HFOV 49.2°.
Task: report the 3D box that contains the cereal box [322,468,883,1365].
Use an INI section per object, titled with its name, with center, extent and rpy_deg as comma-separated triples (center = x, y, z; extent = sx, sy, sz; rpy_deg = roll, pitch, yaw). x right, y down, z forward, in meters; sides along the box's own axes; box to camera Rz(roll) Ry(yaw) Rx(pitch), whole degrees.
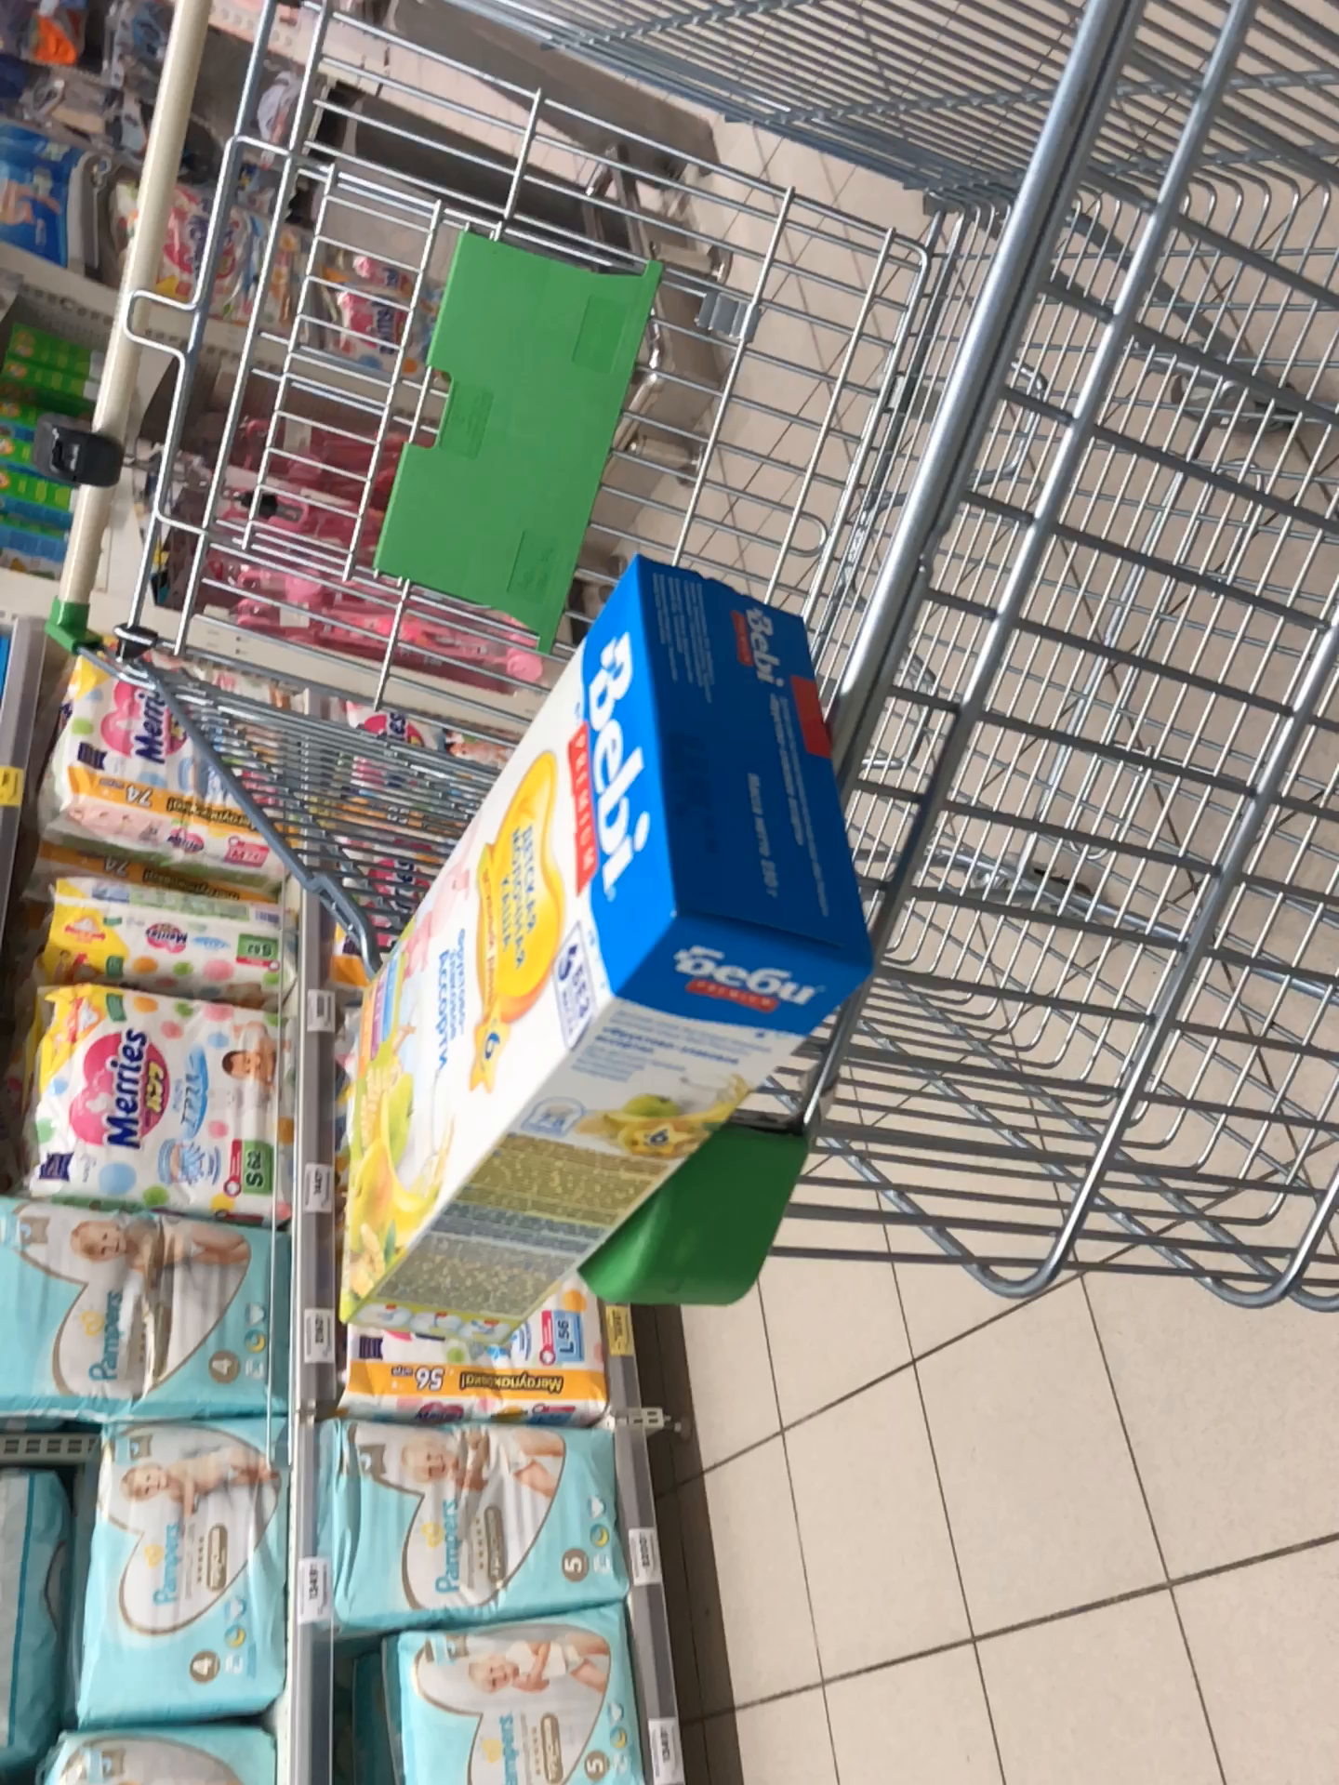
[cereal box]
center = -0.033, 0.015, 0.410
extent = 0.211, 0.050, 0.150
rpy_deg = -52, 31, 40
